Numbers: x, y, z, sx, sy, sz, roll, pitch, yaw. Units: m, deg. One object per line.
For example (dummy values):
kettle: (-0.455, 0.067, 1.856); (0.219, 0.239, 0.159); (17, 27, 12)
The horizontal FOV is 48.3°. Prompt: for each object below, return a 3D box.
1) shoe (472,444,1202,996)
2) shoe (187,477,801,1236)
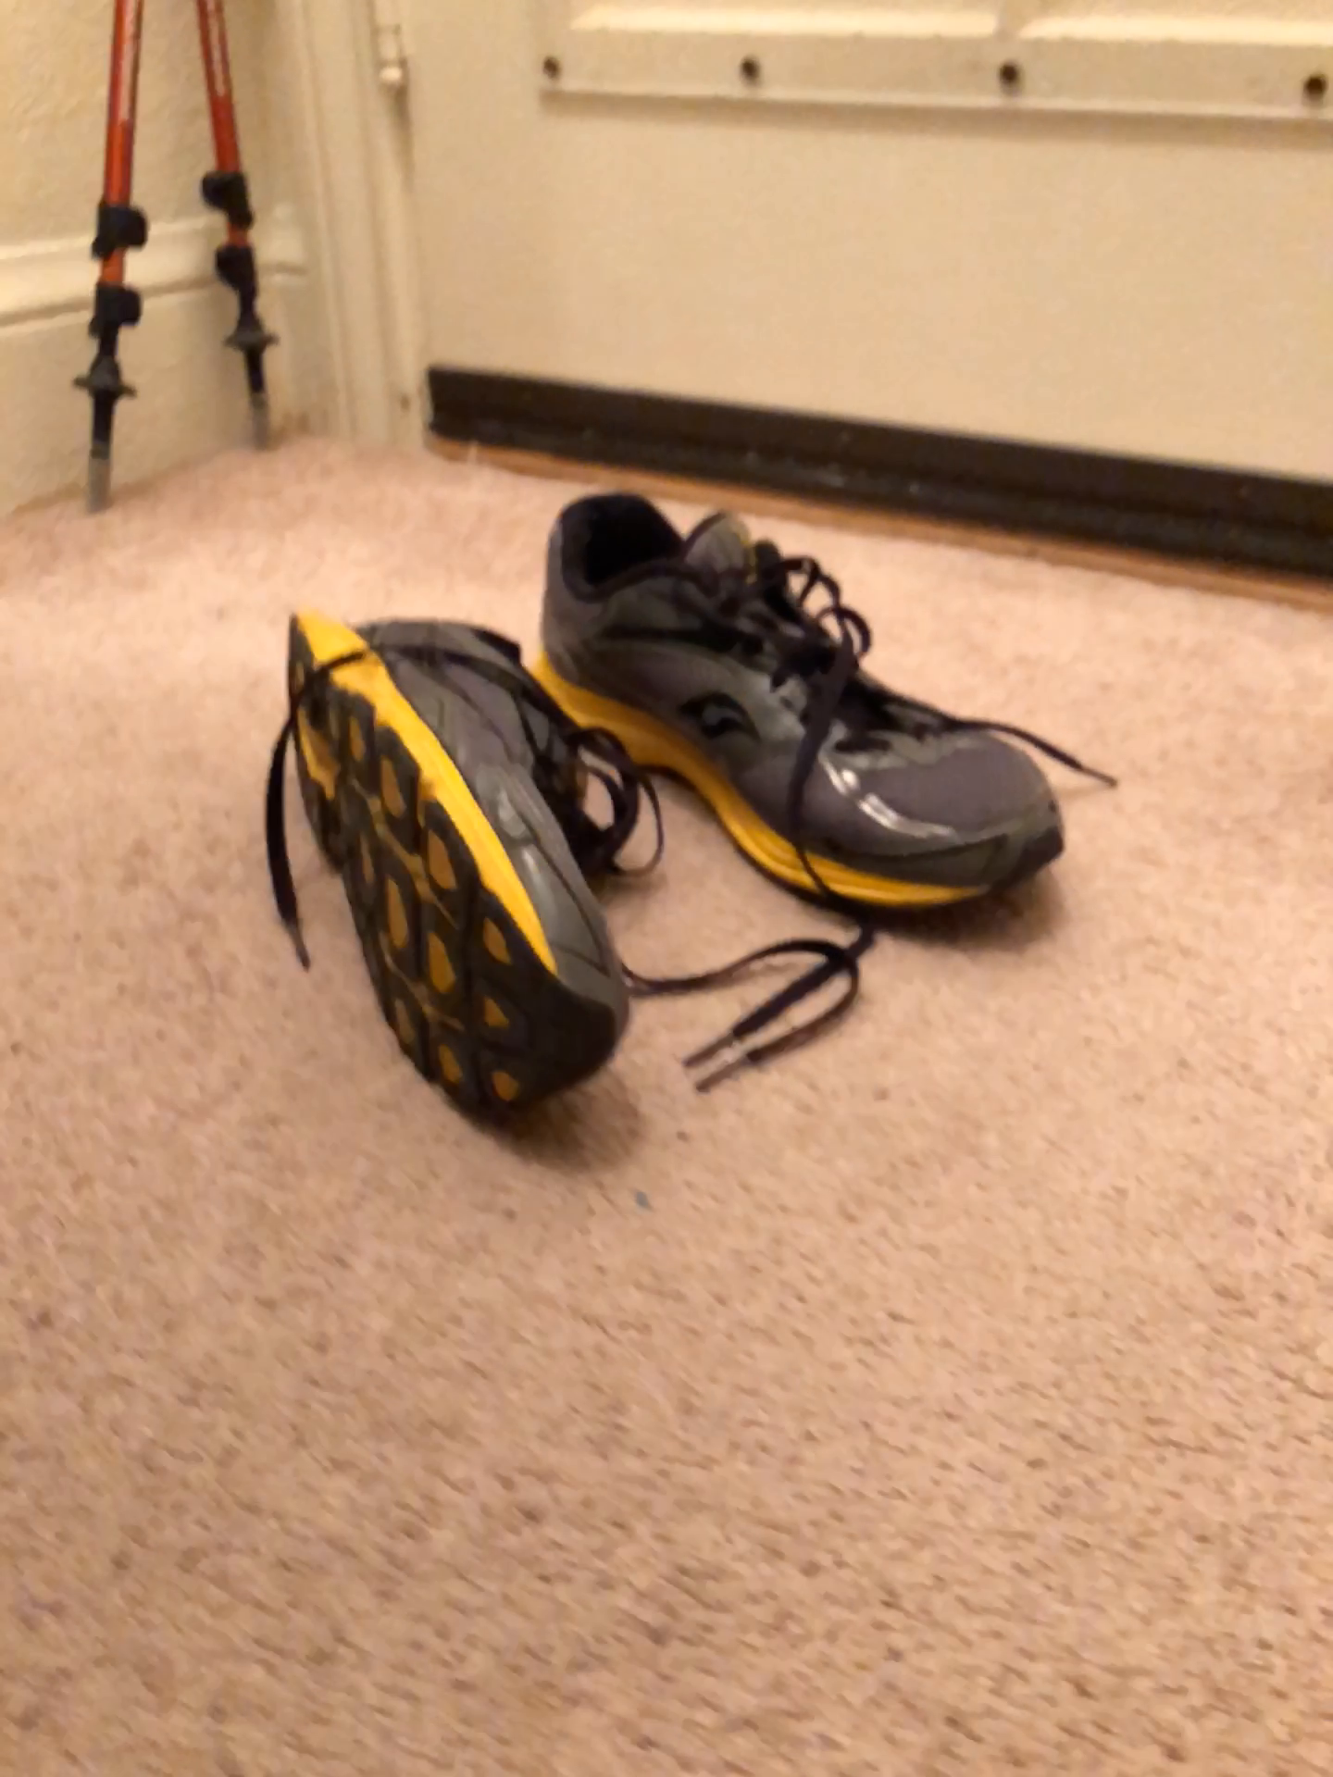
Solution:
shoe: (0.047, -0.086, 0.586); (0.118, 0.099, 0.284); (-20, 37, -29)
shoe: (-0.073, -0.037, 0.513); (0.109, 0.117, 0.294); (-16, 35, -19)
